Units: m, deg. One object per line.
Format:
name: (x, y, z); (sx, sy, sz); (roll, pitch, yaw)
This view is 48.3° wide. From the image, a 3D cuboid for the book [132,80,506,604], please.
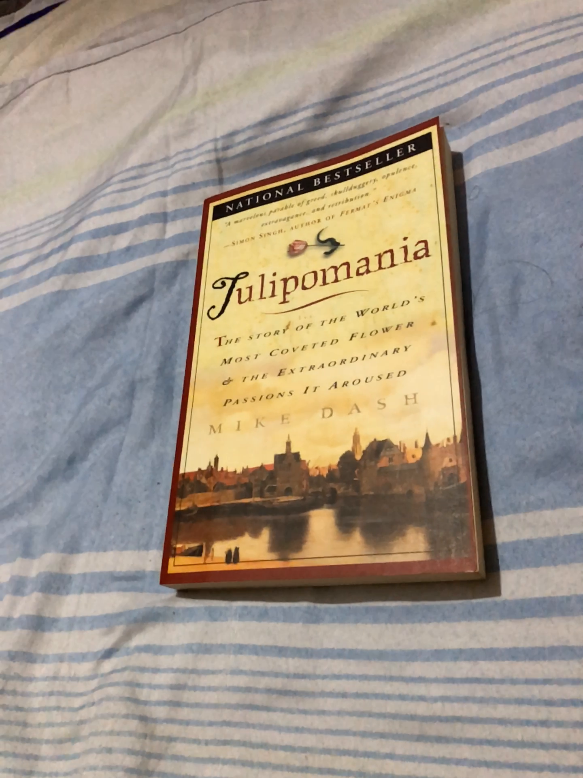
book: (0.014, -0.023, 0.309); (0.140, 0.050, 0.230); (-10, 61, 25)
